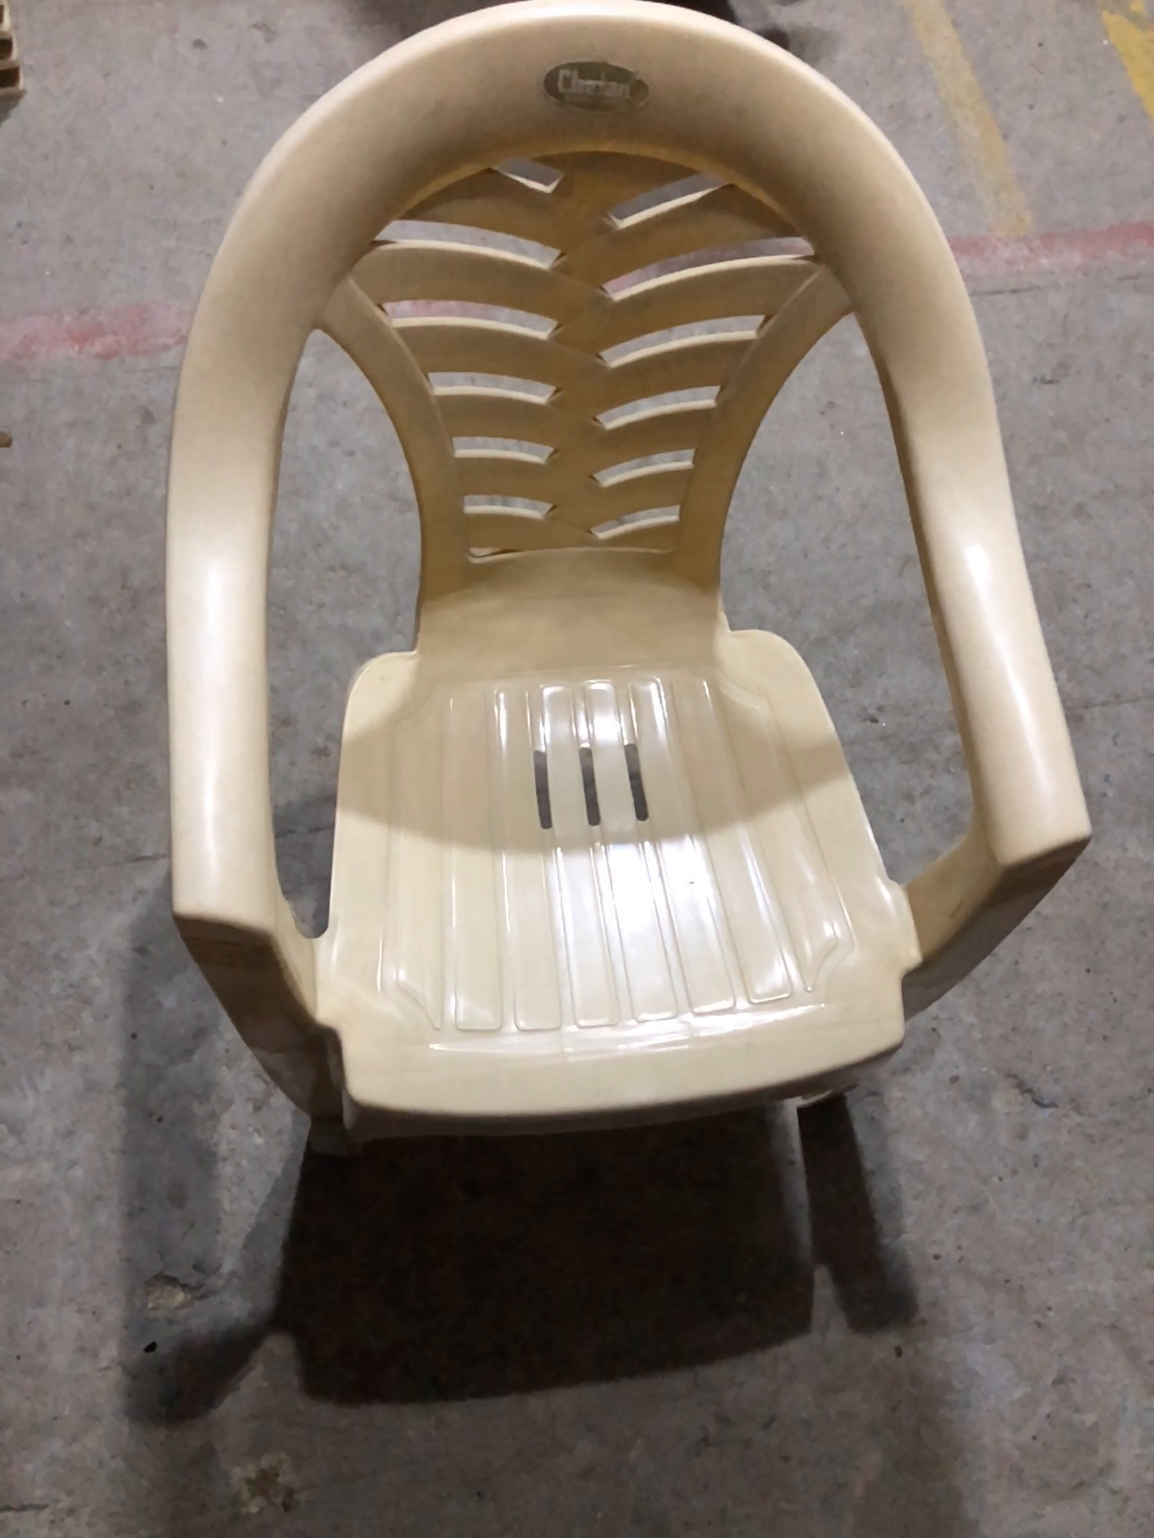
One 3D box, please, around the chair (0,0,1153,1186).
[{"bbox_3d":[0.021,-0.028,0.921,0.560,0.867,0.561,-2,70,-7],"label":"chair"}]
